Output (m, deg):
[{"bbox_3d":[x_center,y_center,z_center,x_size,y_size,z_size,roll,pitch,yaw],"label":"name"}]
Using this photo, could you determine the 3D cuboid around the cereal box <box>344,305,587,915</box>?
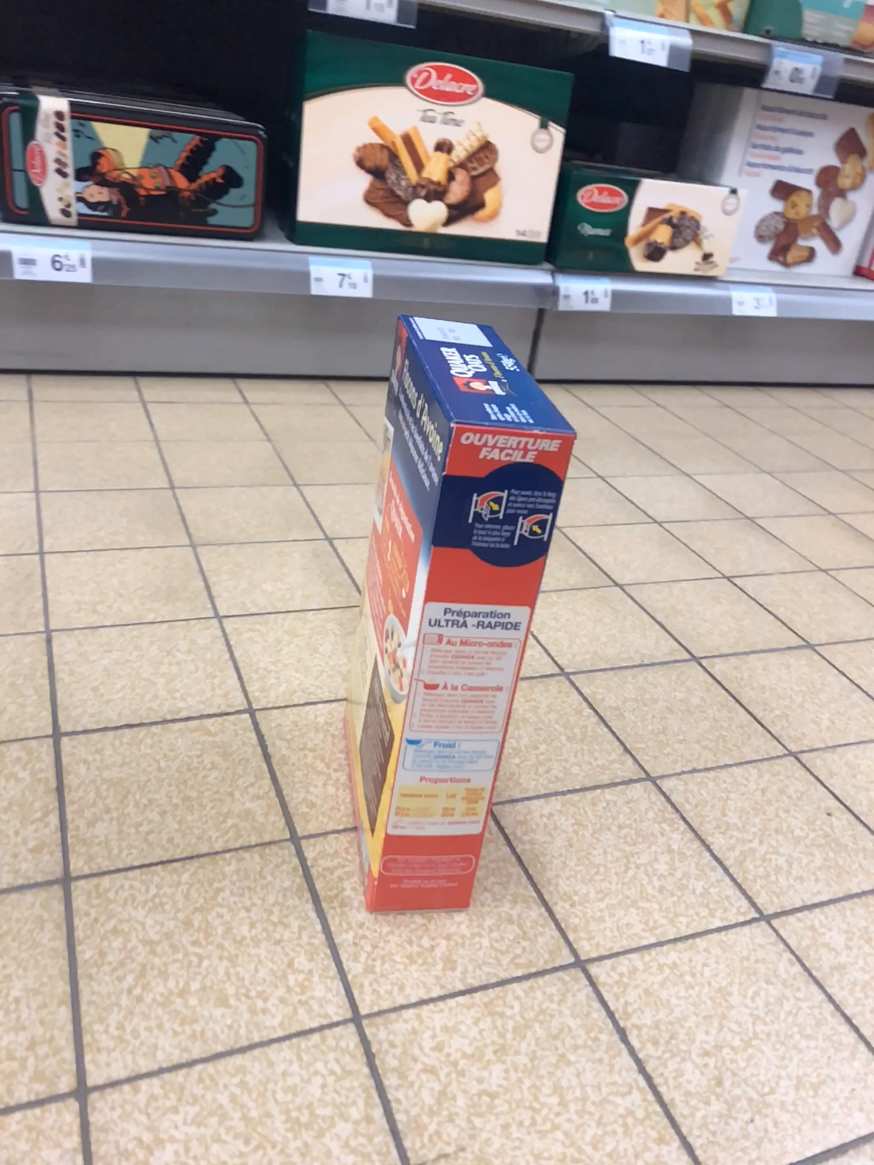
[{"bbox_3d":[-0.001,0.011,0.429,0.050,0.229,0.141,3,28,-12],"label":"cereal box"}]
